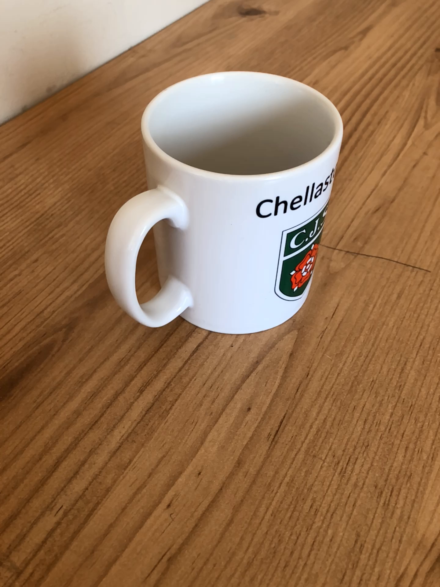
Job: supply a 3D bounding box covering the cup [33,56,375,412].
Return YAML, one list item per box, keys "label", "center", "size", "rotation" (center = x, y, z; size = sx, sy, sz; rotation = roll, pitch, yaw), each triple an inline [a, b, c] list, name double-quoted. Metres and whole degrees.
- label: "cup"
  center: [0.000, -0.031, 0.228]
  size: [0.084, 0.095, 0.110]
  rotation: [29, 58, 26]
